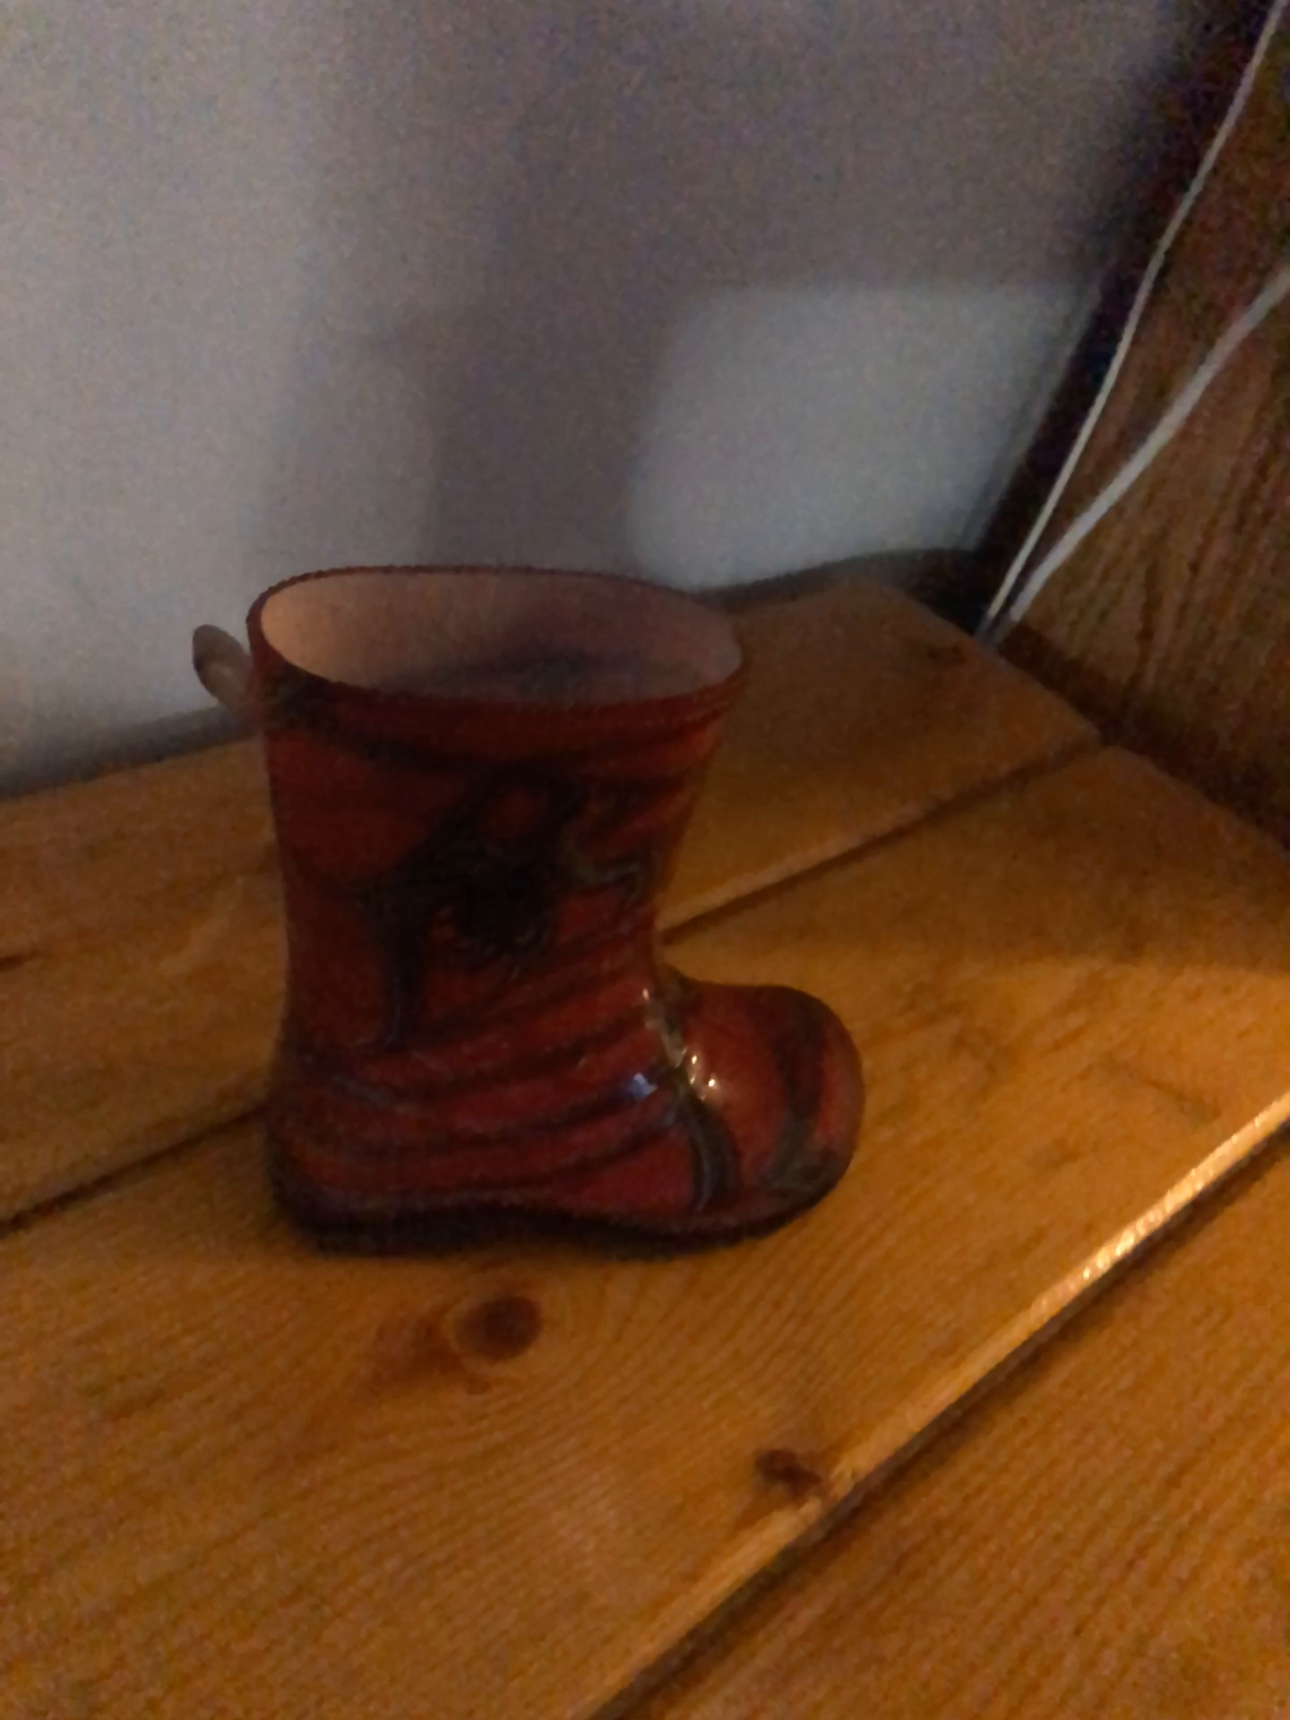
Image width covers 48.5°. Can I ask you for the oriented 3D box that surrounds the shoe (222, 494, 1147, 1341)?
[{"bbox_3d":[-0.008,0.019,0.331,0.160,0.169,0.080,0,41,-21],"label":"shoe"}]
